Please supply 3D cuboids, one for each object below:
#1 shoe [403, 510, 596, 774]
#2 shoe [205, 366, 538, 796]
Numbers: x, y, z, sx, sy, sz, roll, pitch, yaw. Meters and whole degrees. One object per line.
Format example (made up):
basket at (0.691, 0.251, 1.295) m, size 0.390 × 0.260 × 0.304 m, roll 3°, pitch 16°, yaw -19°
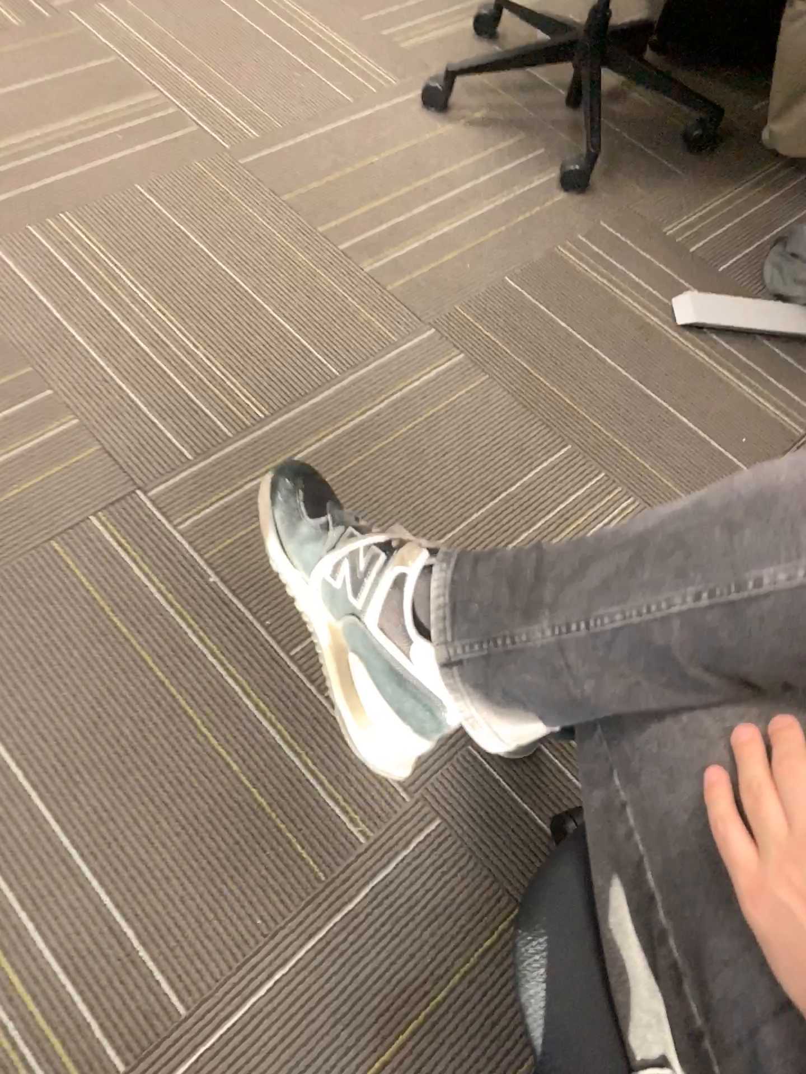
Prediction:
shoe at (0.116, 0.136, 1.100) m, size 0.115 × 0.133 × 0.305 m, roll -15°, pitch 61°, yaw -17°
shoe at (-0.033, 0.034, 0.661) m, size 0.133 × 0.115 × 0.305 m, roll -32°, pitch 62°, yaw 15°
